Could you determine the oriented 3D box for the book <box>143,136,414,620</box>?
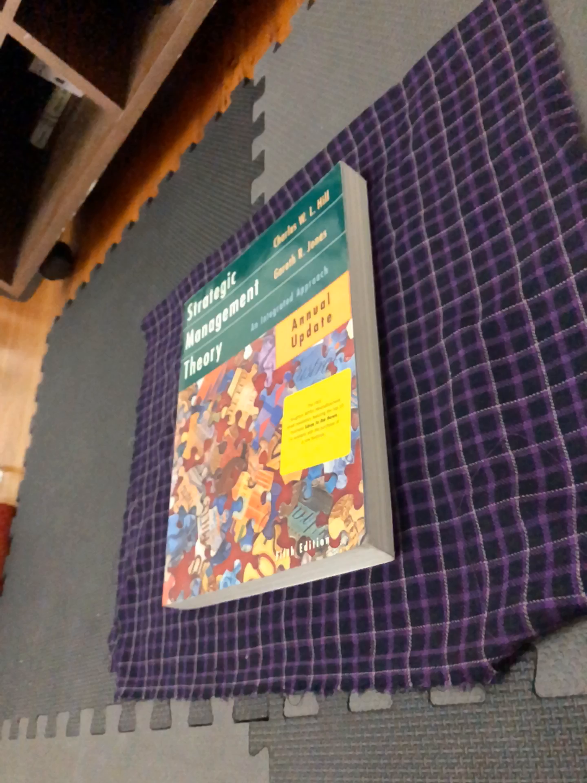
[{"bbox_3d":[-0.028,0.002,0.466,0.231,0.040,0.281,-30,52,45],"label":"book"}]
